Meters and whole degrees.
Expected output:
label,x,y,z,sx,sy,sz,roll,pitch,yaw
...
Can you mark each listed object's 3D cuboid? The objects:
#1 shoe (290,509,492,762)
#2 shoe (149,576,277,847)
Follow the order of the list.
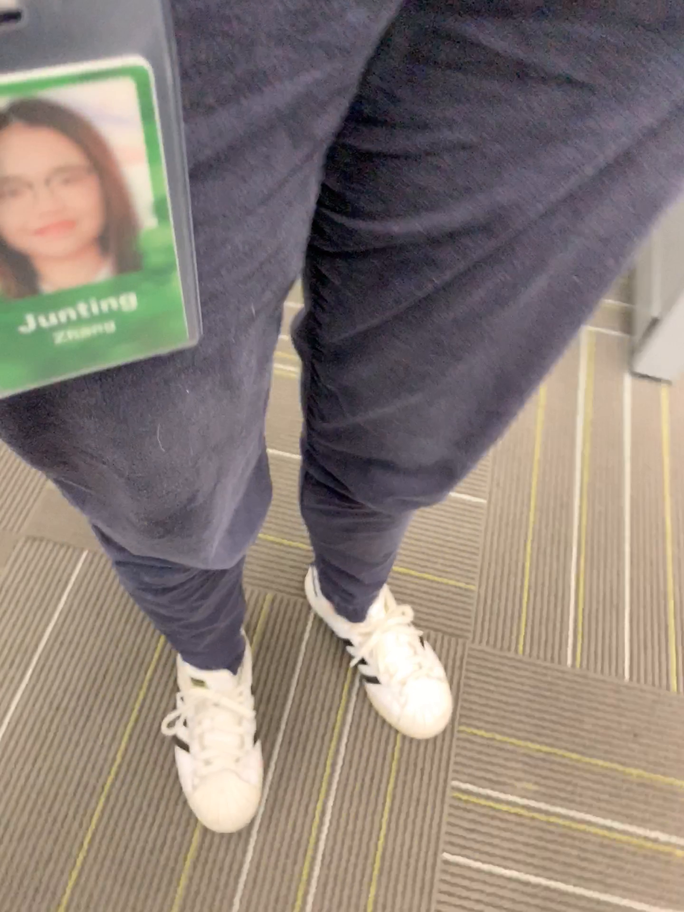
label,x,y,z,sx,sy,sz,roll,pitch,yaw
shoe,0.049,0.214,0.866,0.108,0.104,0.263,-25,62,-20
shoe,-0.149,0.285,0.807,0.105,0.104,0.258,-8,58,-11
